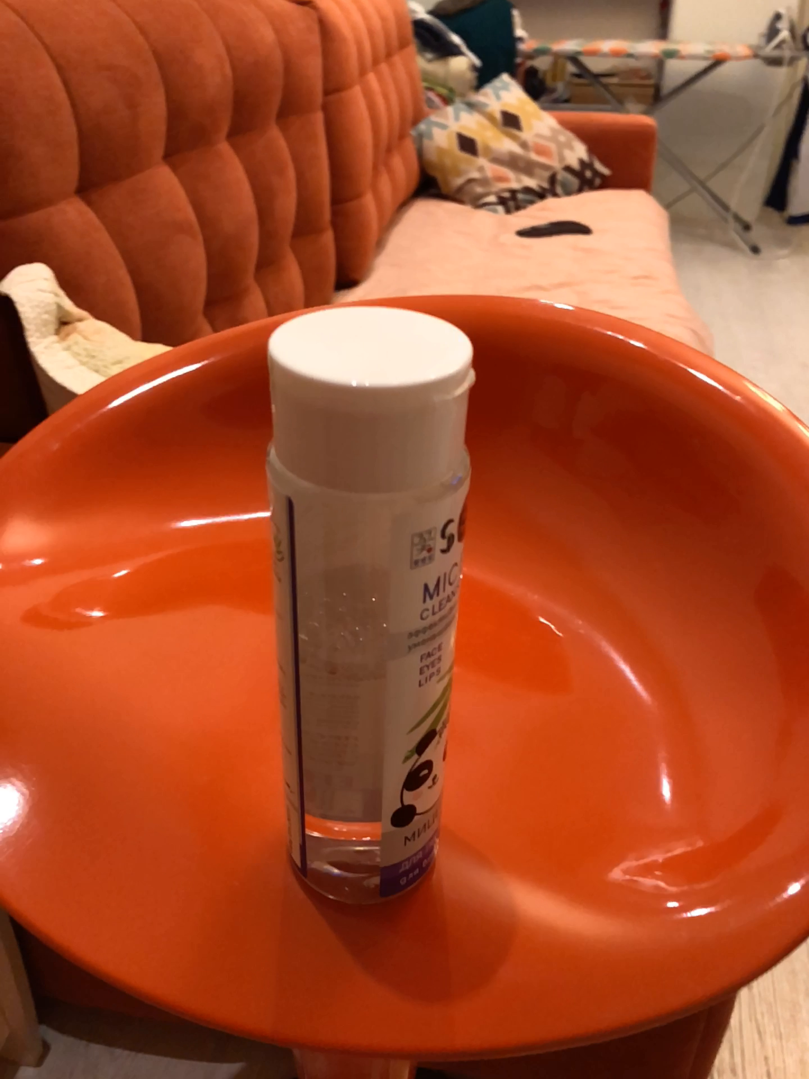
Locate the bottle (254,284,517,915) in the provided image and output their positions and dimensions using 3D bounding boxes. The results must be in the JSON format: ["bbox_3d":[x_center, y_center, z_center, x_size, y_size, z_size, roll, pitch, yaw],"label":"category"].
[{"bbox_3d":[-0.006,0.023,0.241,0.052,0.166,0.054,2,32,-1],"label":"bottle"}]
